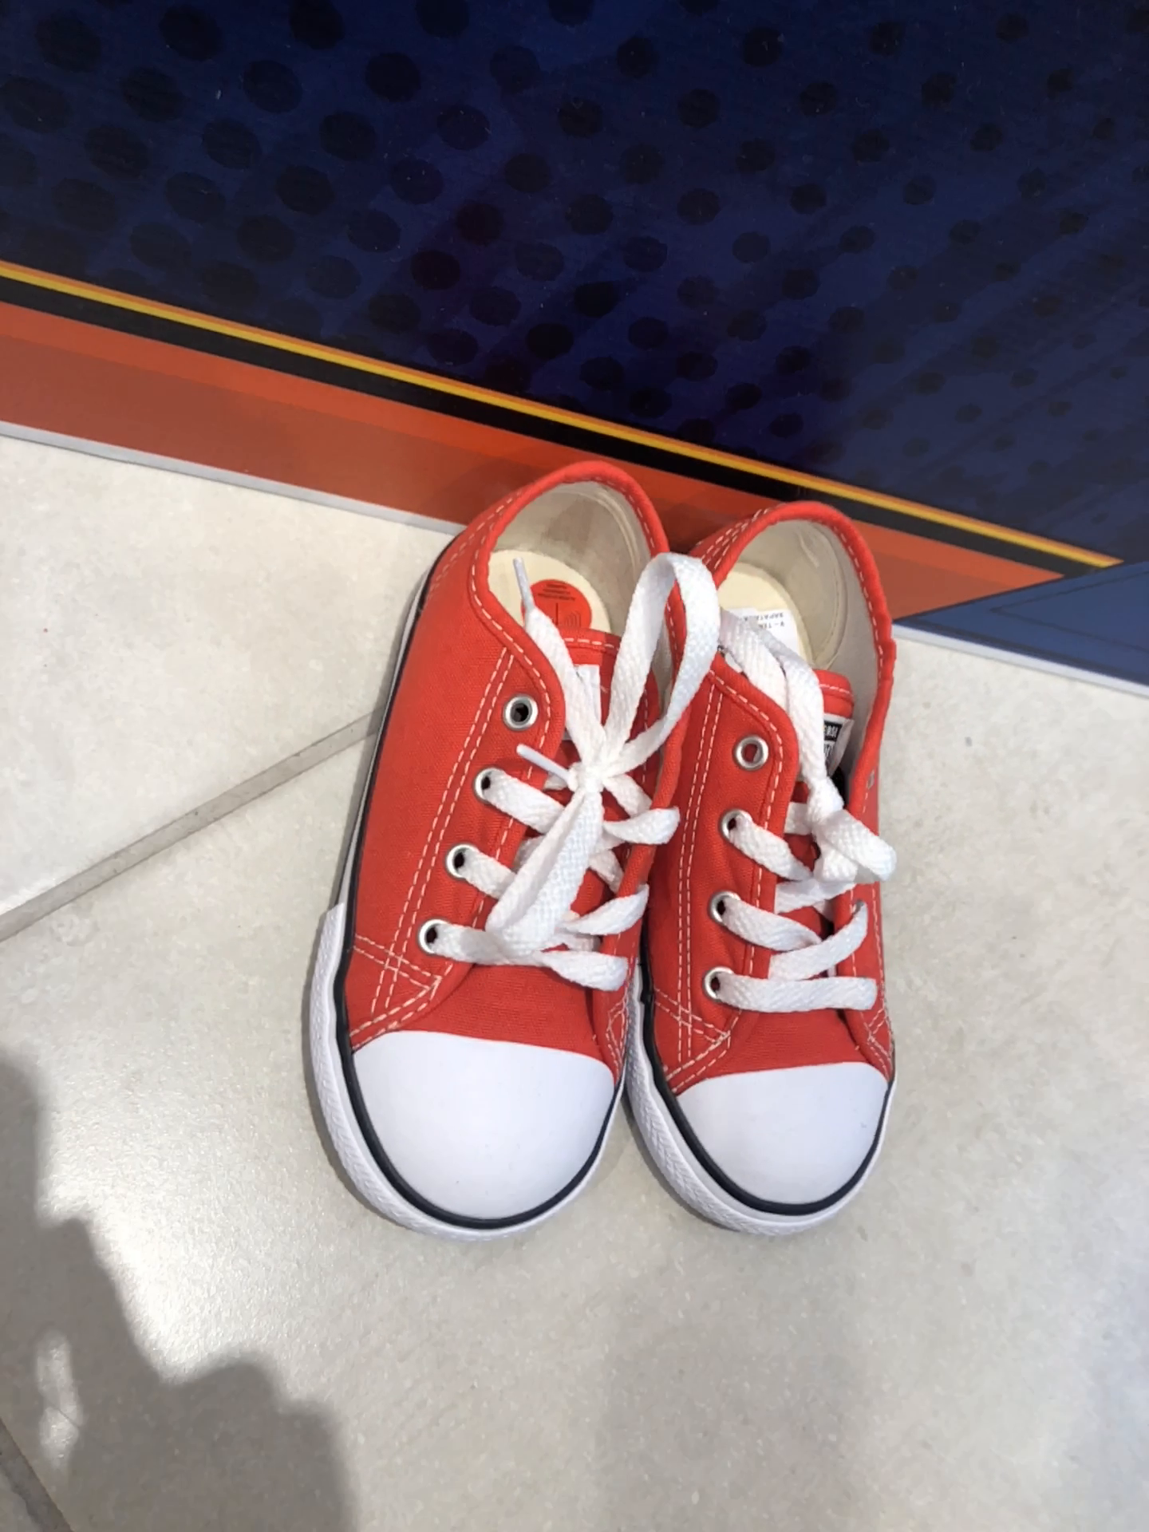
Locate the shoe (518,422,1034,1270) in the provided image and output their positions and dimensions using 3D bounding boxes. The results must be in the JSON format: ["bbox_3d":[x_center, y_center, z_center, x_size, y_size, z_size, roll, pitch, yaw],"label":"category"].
[{"bbox_3d":[0.043,0.020,0.324,0.080,0.070,0.190,1,72,-23],"label":"shoe"}]

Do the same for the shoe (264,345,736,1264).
[{"bbox_3d":[-0.015,0.012,0.299,0.080,0.070,0.190,10,69,-20],"label":"shoe"}]
